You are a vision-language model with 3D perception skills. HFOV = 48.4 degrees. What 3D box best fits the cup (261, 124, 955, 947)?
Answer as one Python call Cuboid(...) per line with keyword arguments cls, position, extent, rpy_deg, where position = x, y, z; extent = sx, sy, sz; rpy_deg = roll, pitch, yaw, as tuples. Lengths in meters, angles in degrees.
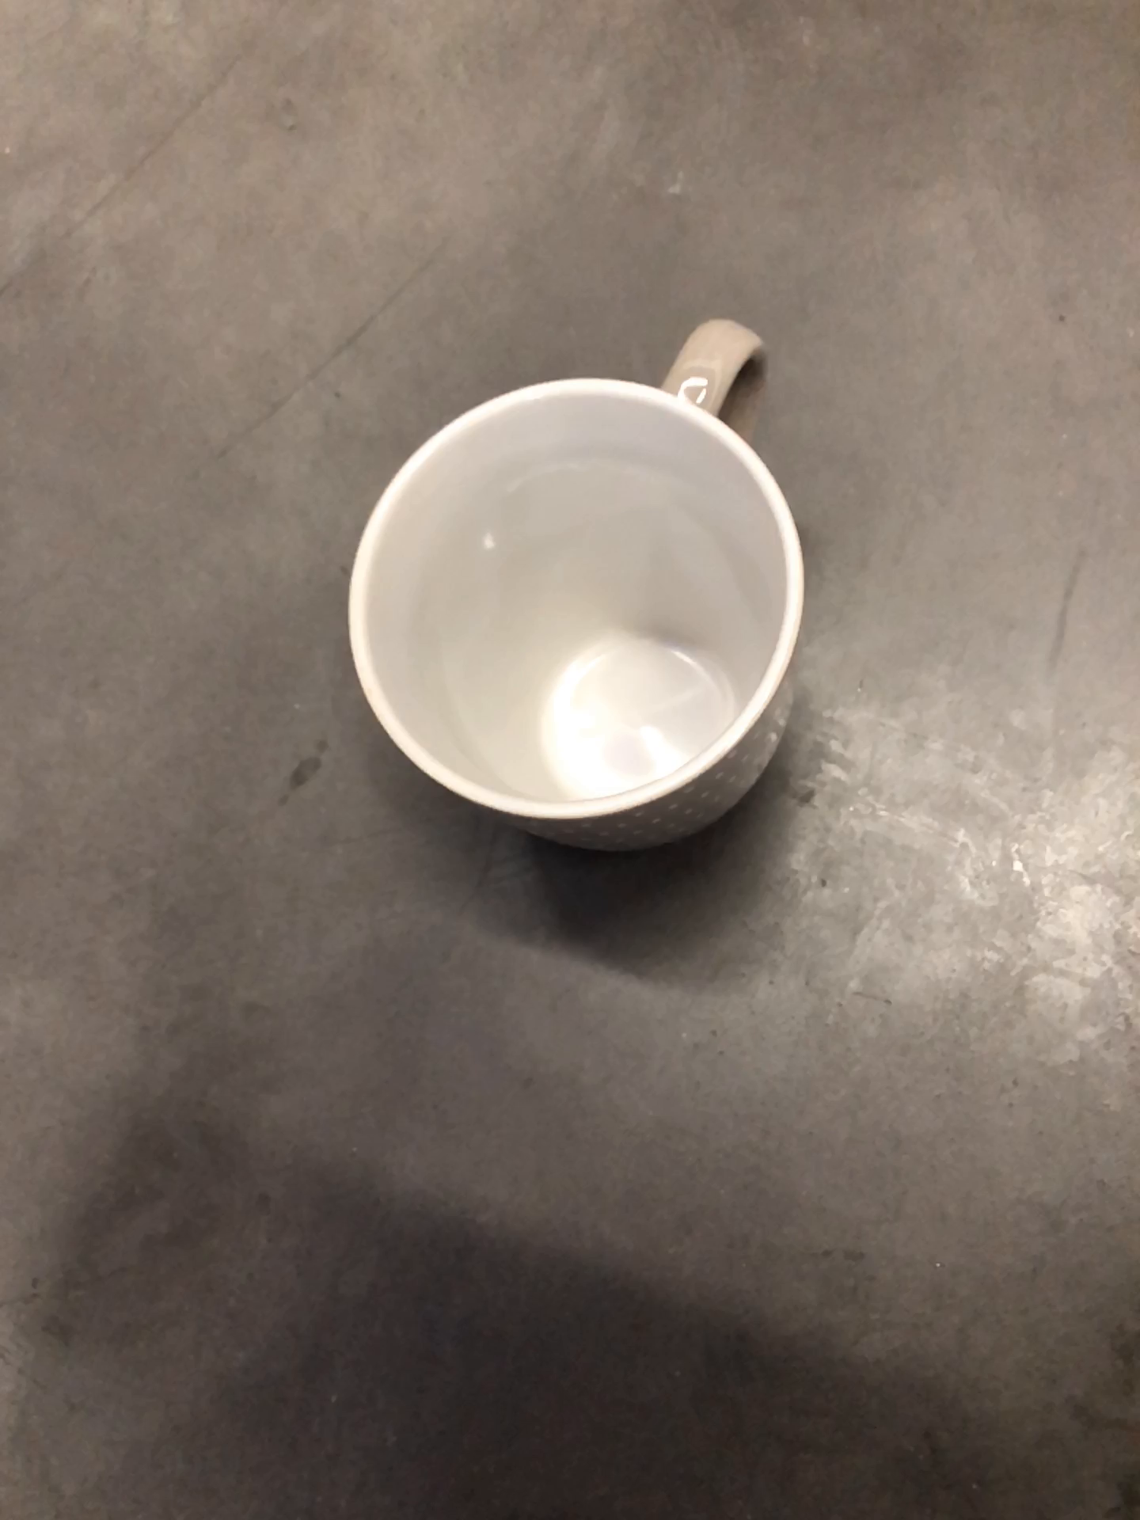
Cuboid(cls="cup", position=(0.018, -0.044, 0.299), extent=(0.091, 0.107, 0.141), rpy_deg=(20, 82, 15))
